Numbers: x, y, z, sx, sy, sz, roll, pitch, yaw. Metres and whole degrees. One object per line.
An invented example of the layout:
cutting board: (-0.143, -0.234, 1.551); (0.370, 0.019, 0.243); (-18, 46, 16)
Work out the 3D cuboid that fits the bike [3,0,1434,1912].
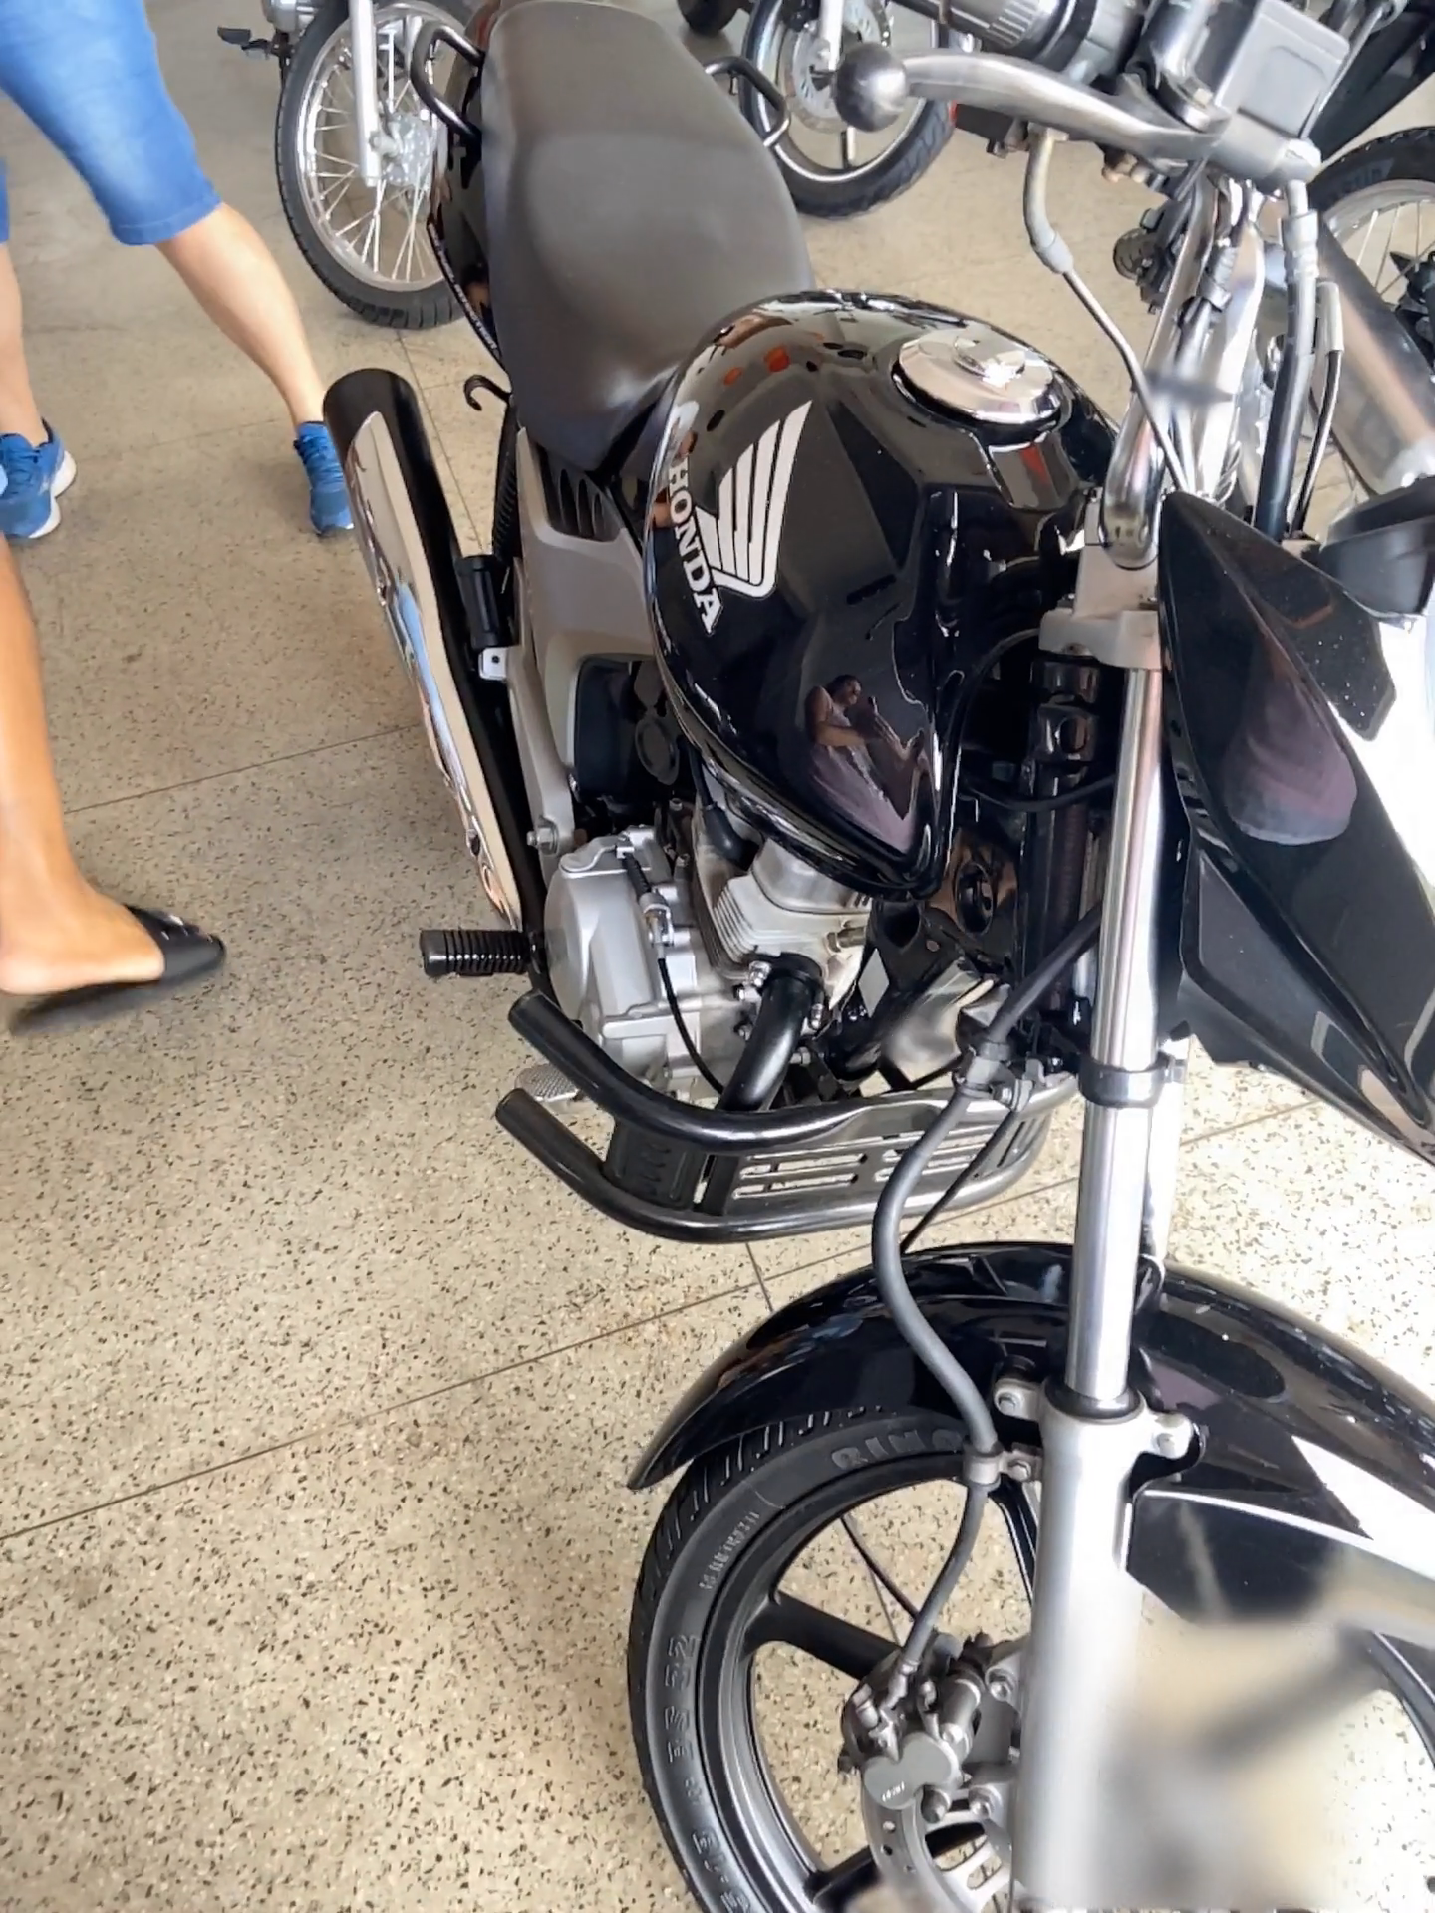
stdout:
bike: (0.181, -0.214, 1.149); (0.774, 1.137, 1.744); (-21, 50, -12)
